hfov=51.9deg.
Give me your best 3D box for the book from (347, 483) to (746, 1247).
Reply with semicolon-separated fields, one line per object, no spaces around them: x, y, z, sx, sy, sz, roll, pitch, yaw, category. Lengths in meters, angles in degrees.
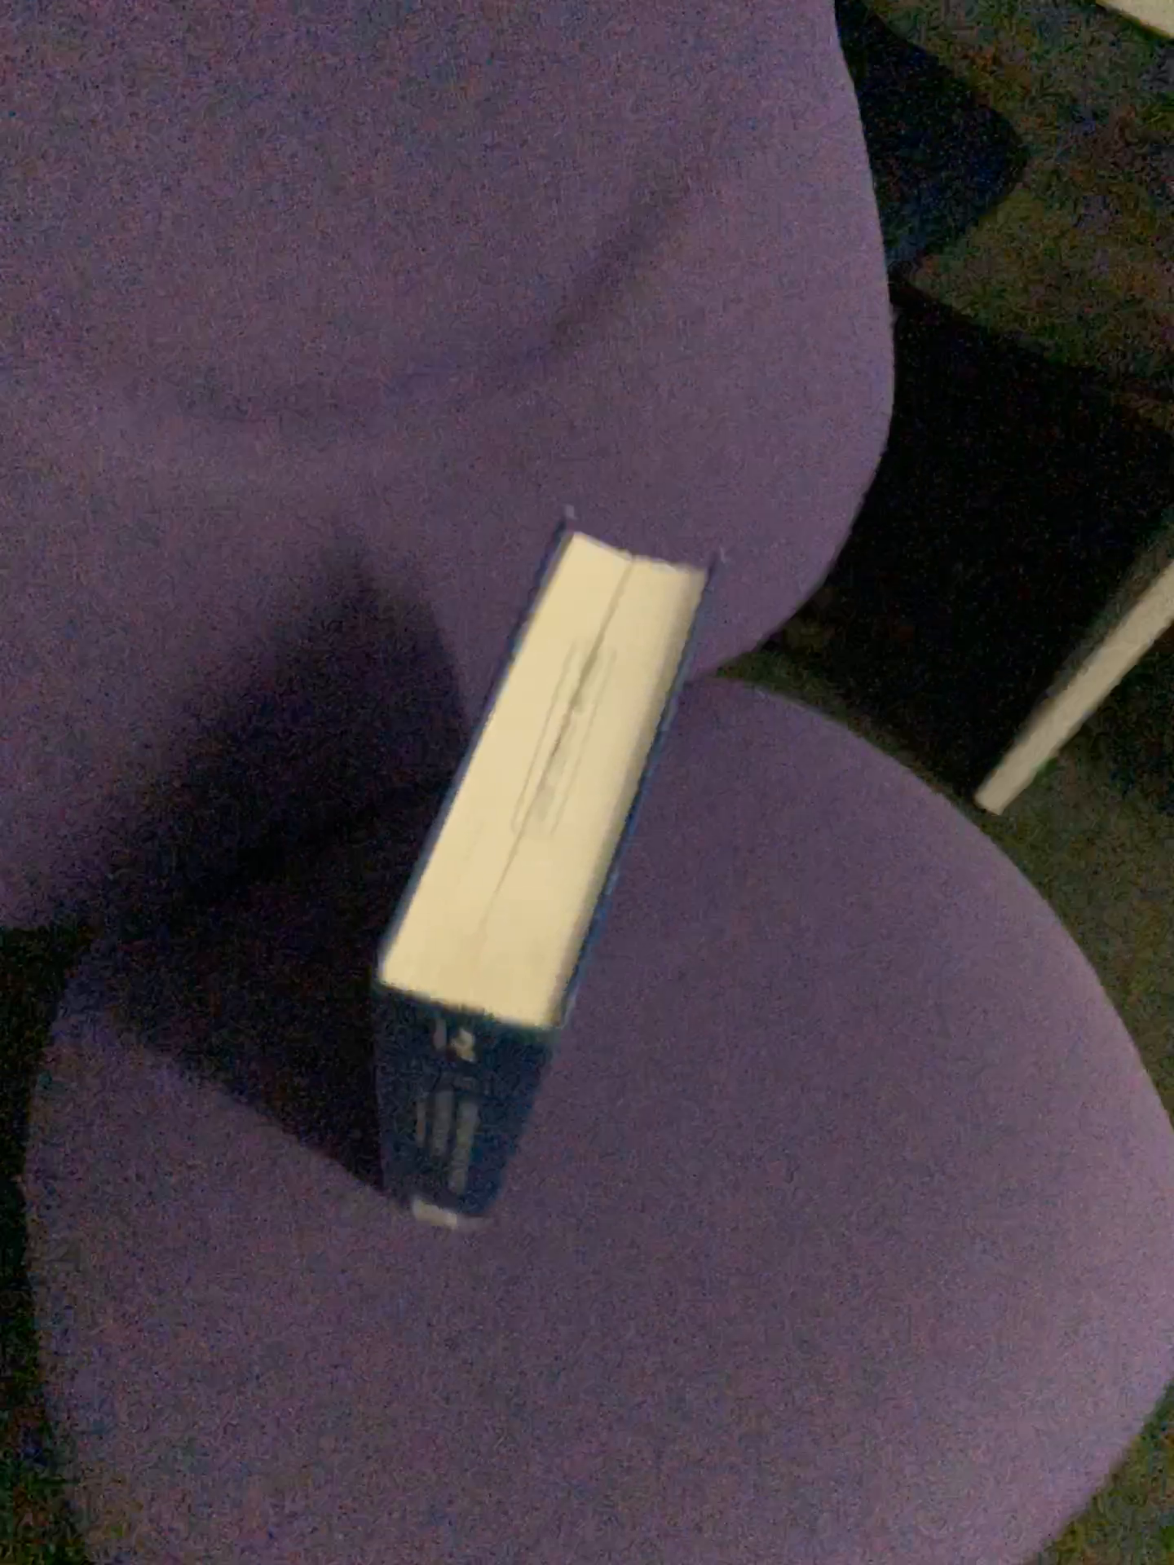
-0.022;0.053;0.440;0.052;0.264;0.182;19;61;2;book
